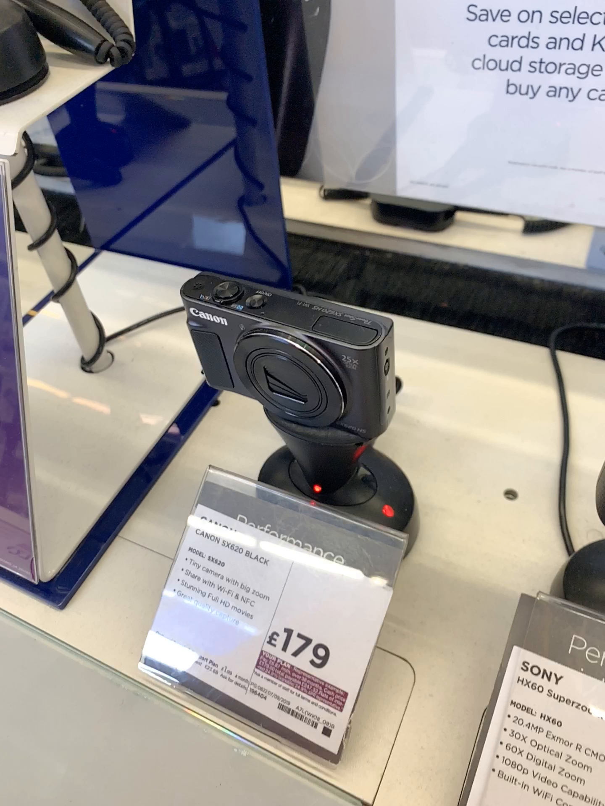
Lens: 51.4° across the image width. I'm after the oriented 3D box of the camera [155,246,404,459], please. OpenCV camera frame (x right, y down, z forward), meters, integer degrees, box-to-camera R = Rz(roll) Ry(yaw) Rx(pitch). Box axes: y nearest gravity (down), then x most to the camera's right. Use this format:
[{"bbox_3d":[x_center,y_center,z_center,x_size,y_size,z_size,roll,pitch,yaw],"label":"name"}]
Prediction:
[{"bbox_3d":[-0.007,-0.021,0.254,0.090,0.059,0.030,18,53,23],"label":"camera"}]
